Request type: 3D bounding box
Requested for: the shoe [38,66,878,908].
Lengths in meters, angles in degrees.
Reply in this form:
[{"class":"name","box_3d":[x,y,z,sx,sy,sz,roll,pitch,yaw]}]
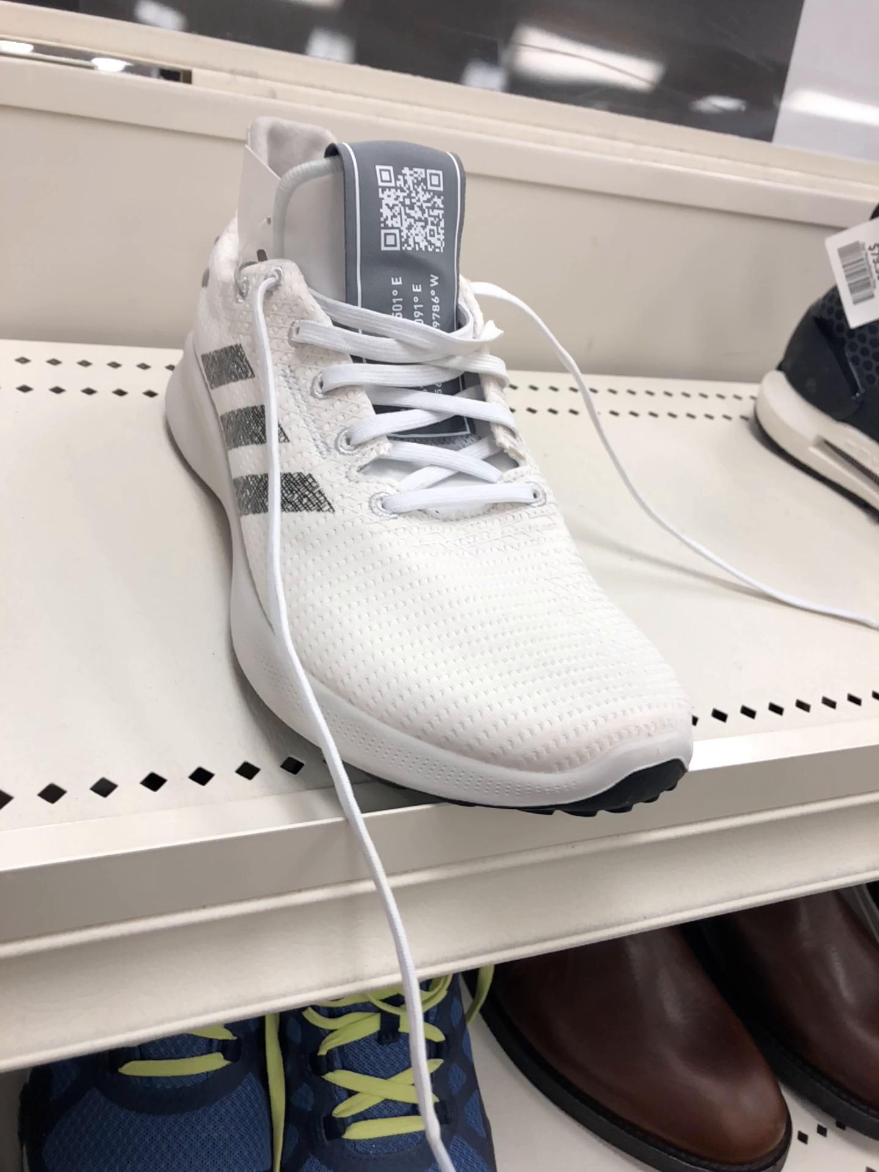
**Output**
[{"class":"shoe","box_3d":[-0.041,-0.088,0.345,0.128,0.139,0.382,-5,29,-30]}]
